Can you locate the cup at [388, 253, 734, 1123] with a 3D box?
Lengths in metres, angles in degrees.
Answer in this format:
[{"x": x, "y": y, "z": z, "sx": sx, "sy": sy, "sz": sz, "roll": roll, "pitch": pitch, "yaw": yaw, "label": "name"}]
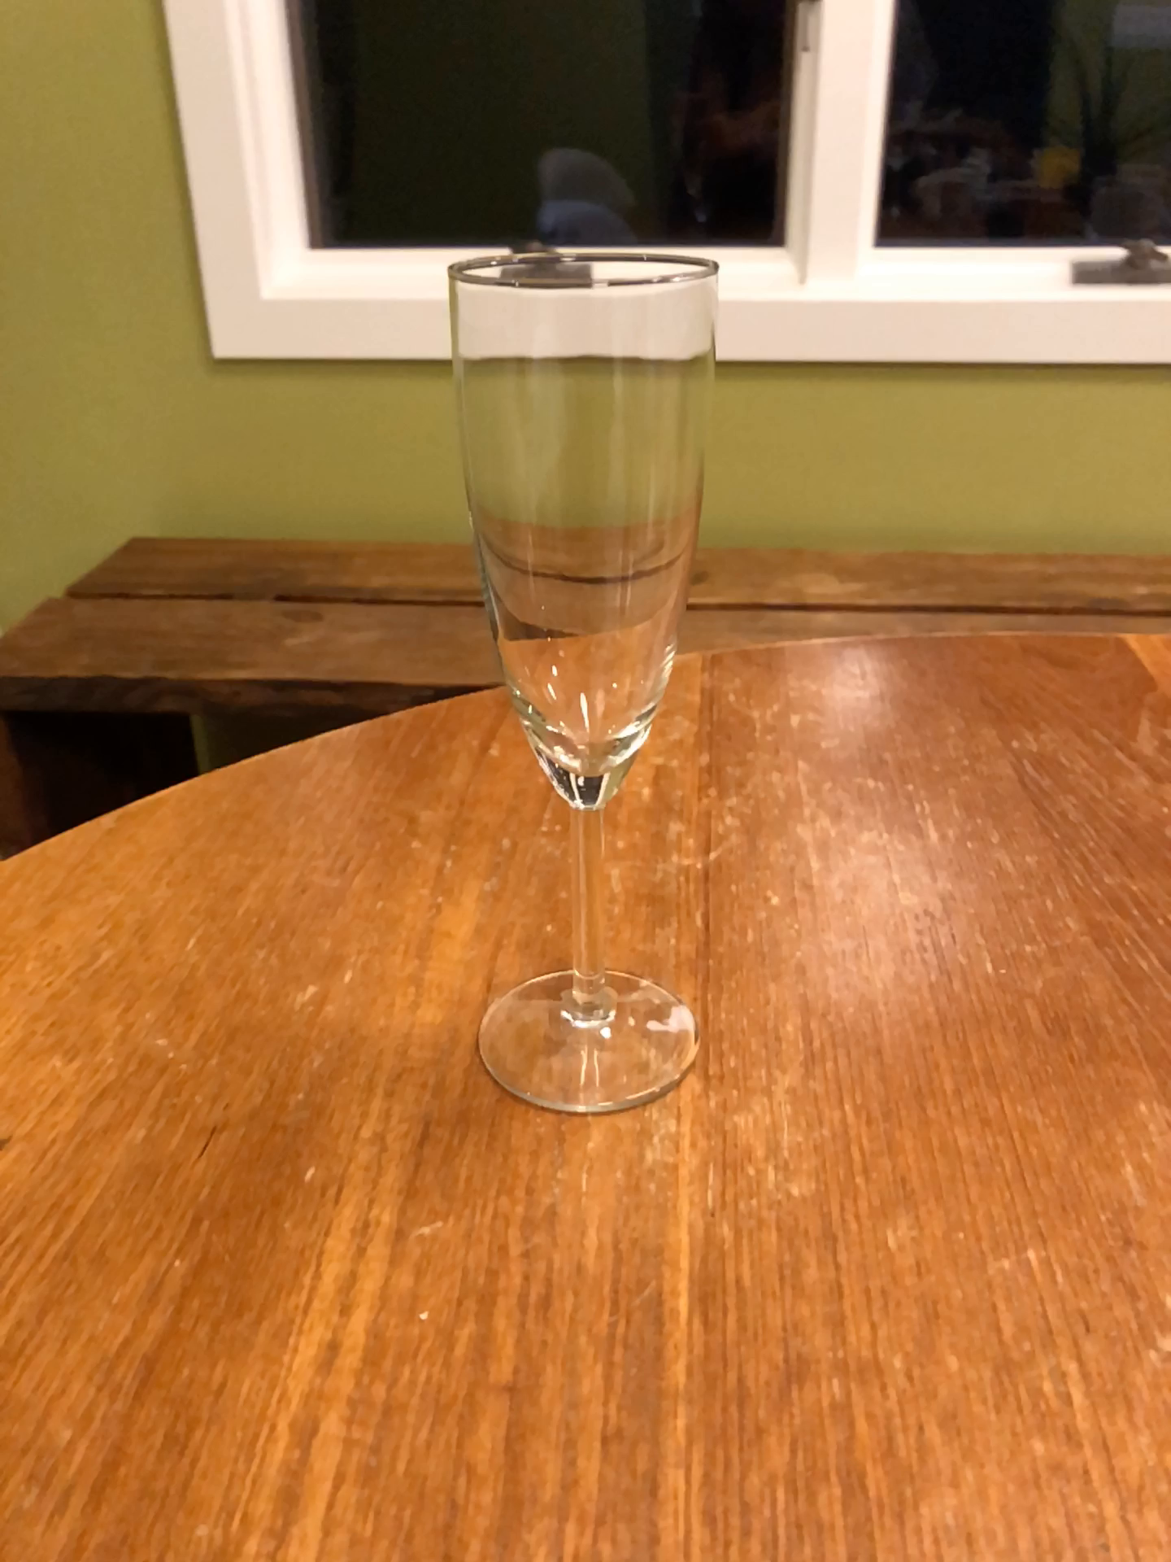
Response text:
[{"x": 0.000, "y": -0.021, "z": 0.340, "sx": 0.070, "sy": 0.211, "sz": 0.077, "roll": 2, "pitch": 27, "yaw": 5, "label": "cup"}]
